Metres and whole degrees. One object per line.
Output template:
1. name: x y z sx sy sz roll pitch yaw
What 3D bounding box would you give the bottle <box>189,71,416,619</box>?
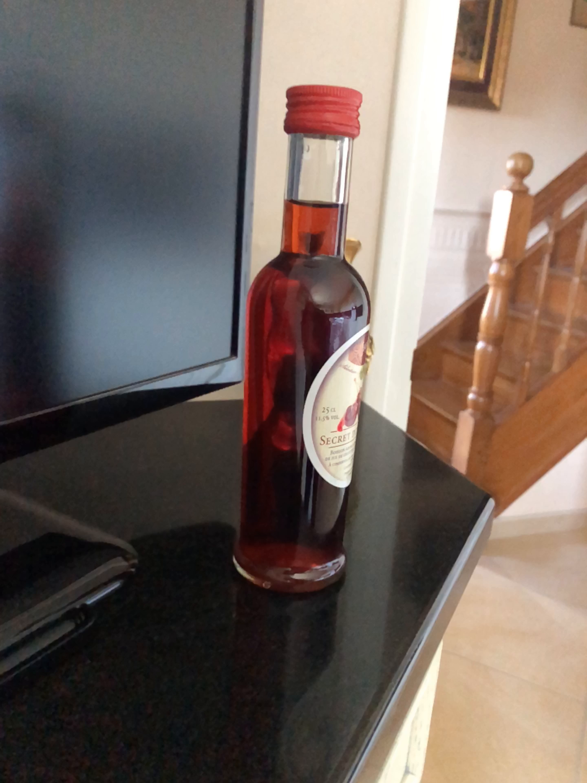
1. bottle: 0.003 -0.019 0.298 0.070 0.219 0.070 4 16 -1
